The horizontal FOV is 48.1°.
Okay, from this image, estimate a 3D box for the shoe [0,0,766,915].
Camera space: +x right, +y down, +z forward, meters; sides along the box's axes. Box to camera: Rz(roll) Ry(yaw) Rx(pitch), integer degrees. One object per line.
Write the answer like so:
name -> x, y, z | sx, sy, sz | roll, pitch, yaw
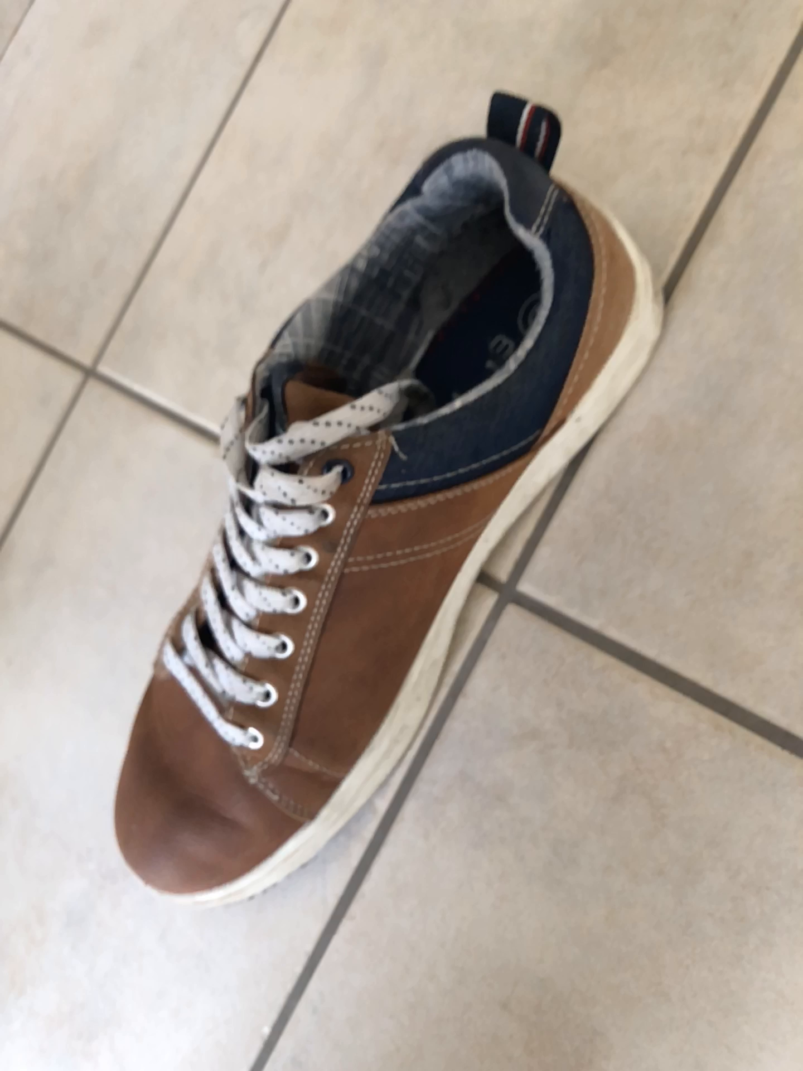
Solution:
shoe -> -0.020, -0.028, 0.326 | 0.100, 0.120, 0.320 | 39, 96, 36
